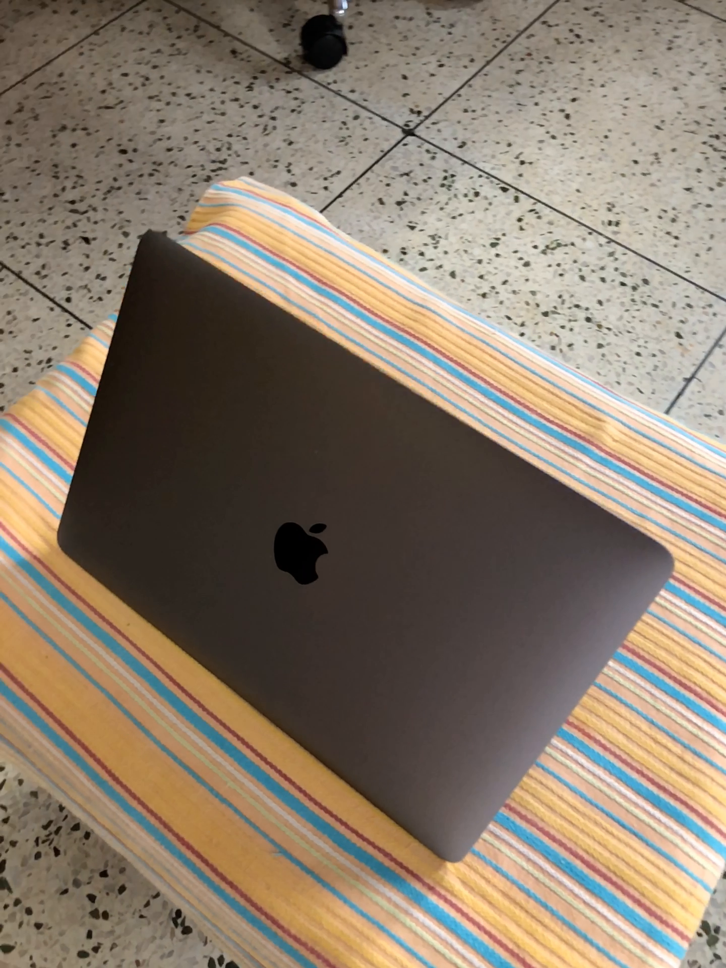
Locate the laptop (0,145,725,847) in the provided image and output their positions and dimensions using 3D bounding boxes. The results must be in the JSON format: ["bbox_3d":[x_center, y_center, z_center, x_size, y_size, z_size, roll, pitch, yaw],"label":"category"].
[{"bbox_3d":[-0.009,0.002,0.432,0.295,0.160,0.204,35,67,17],"label":"laptop"}]
